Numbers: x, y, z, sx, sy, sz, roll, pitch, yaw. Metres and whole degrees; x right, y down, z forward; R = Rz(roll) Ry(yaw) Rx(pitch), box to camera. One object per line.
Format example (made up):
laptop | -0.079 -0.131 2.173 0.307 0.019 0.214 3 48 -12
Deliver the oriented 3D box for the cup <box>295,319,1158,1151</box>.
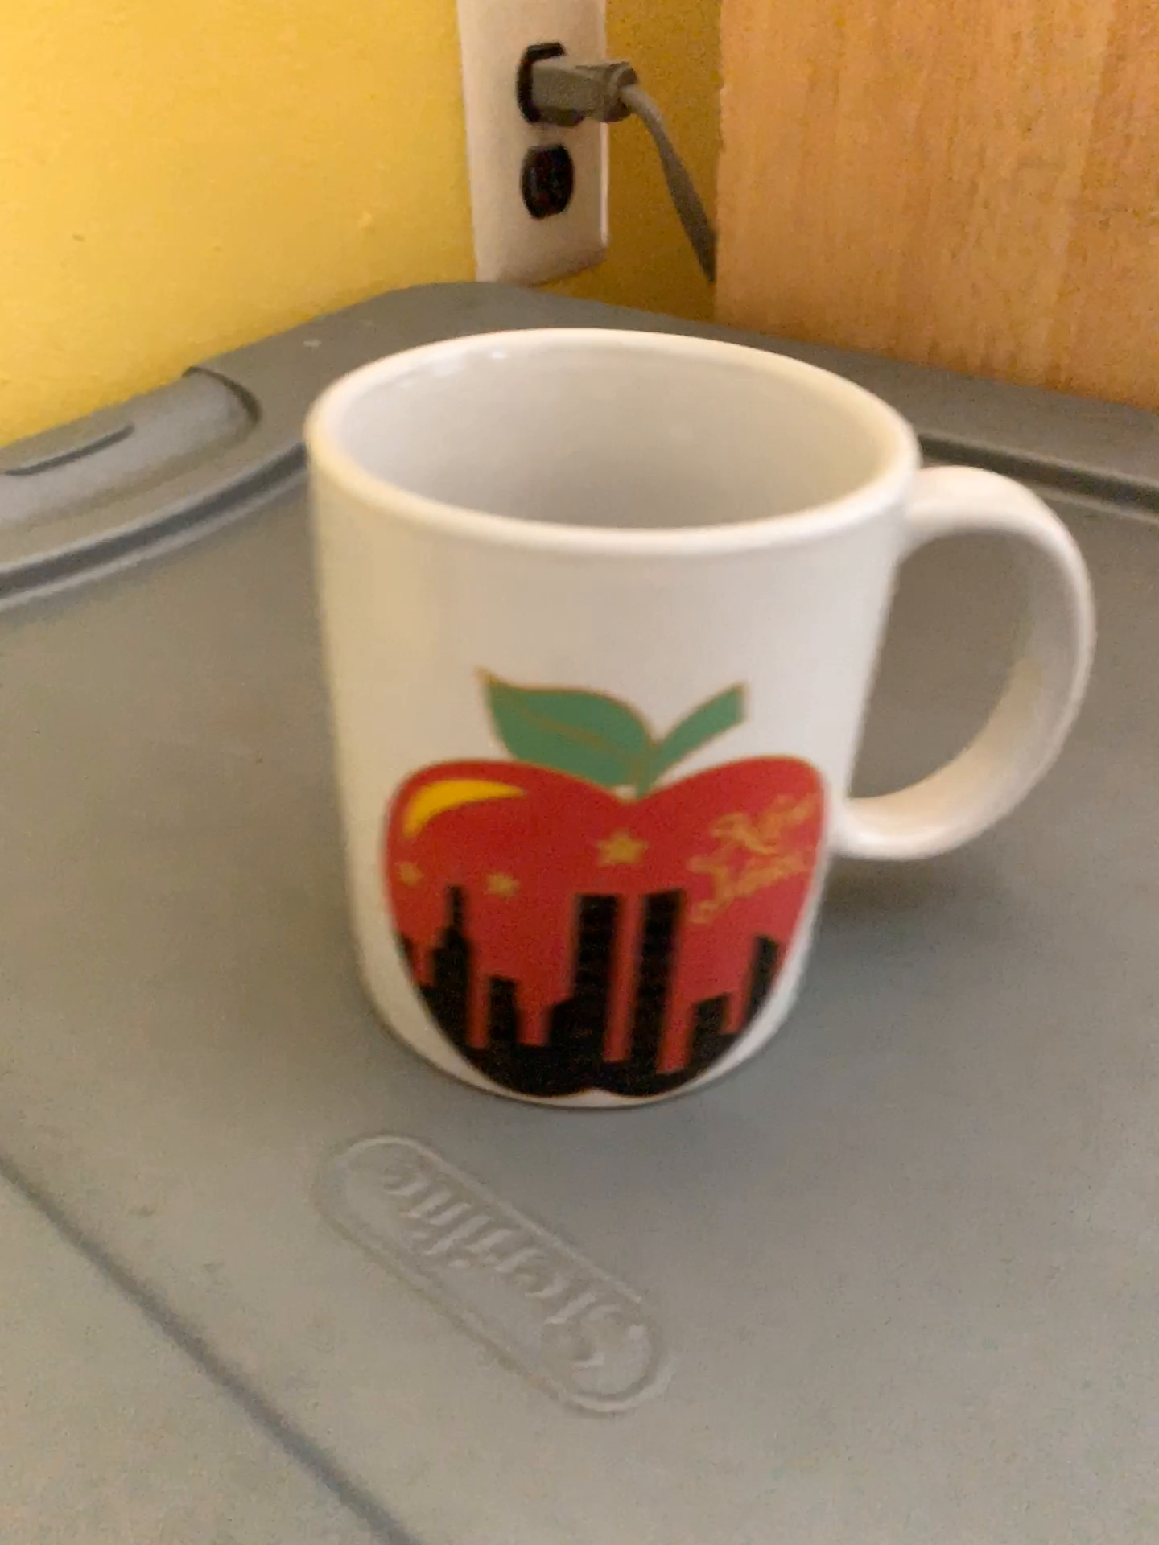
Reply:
cup | 0.018 -0.013 0.202 0.118 0.095 0.098 -3 36 -9
